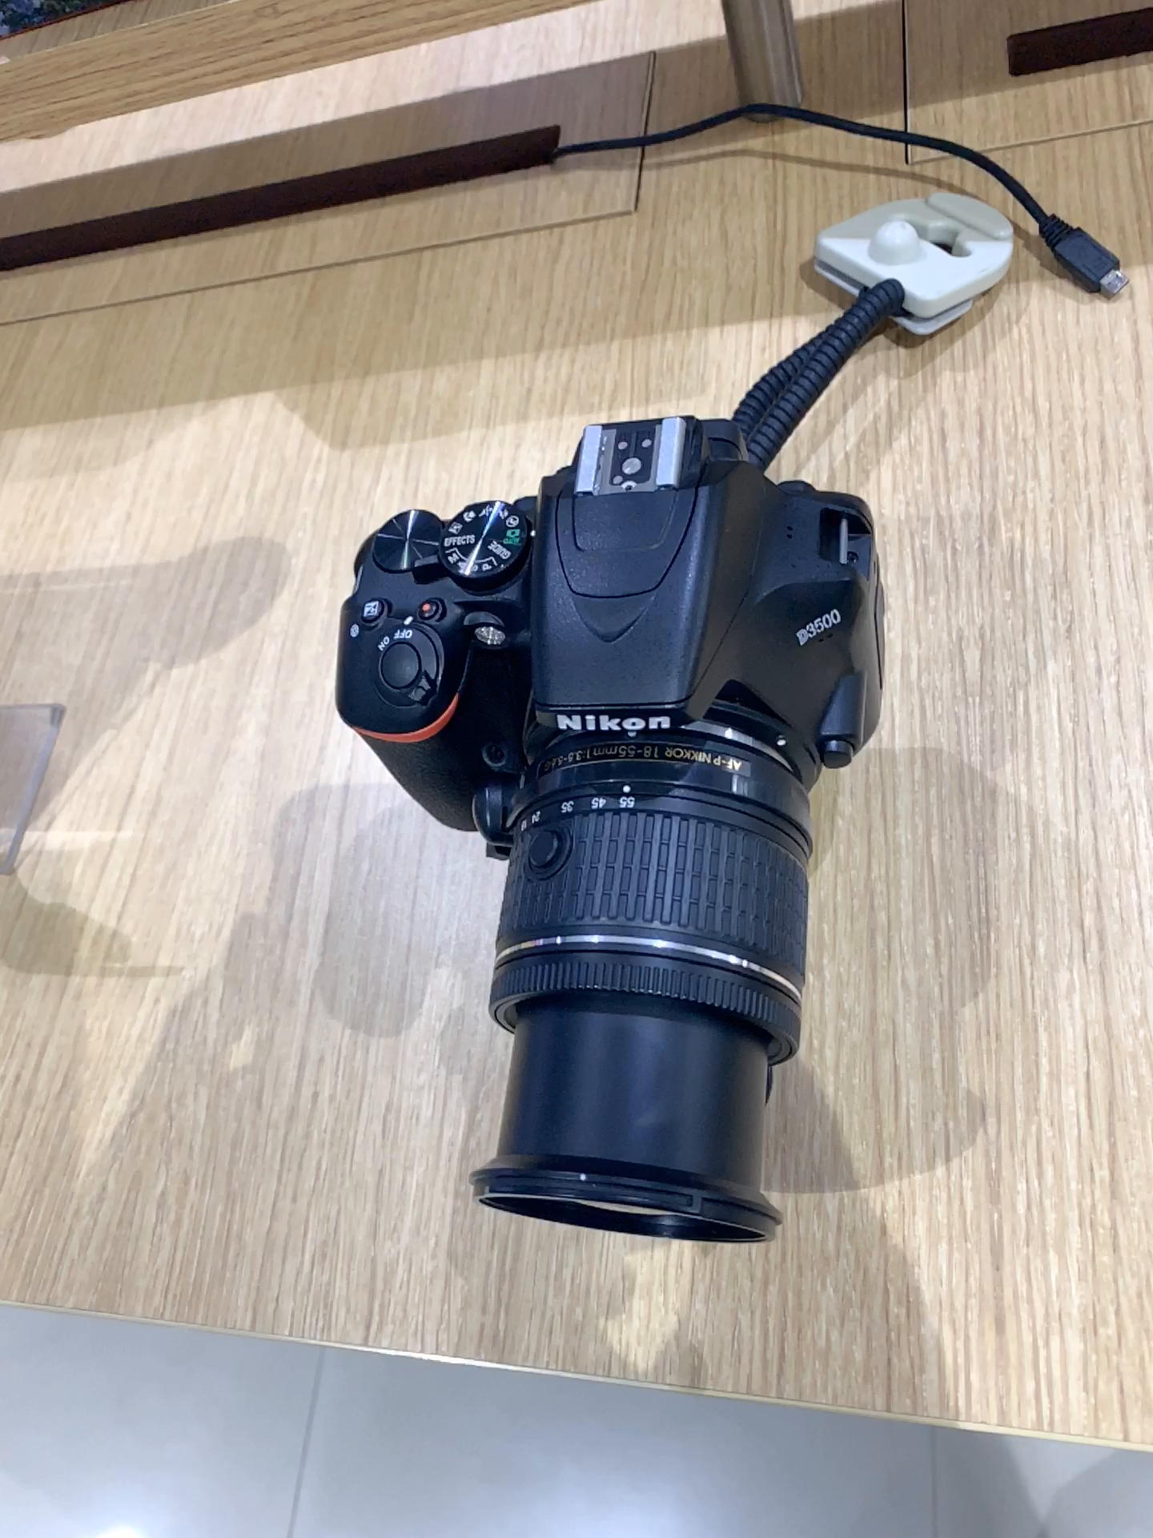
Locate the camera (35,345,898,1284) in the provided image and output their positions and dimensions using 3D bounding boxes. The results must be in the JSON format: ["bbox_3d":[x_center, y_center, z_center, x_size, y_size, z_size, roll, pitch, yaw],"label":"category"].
[{"bbox_3d":[-0.003,0.016,0.226,0.115,0.100,0.136,-2,63,17],"label":"camera"}]
